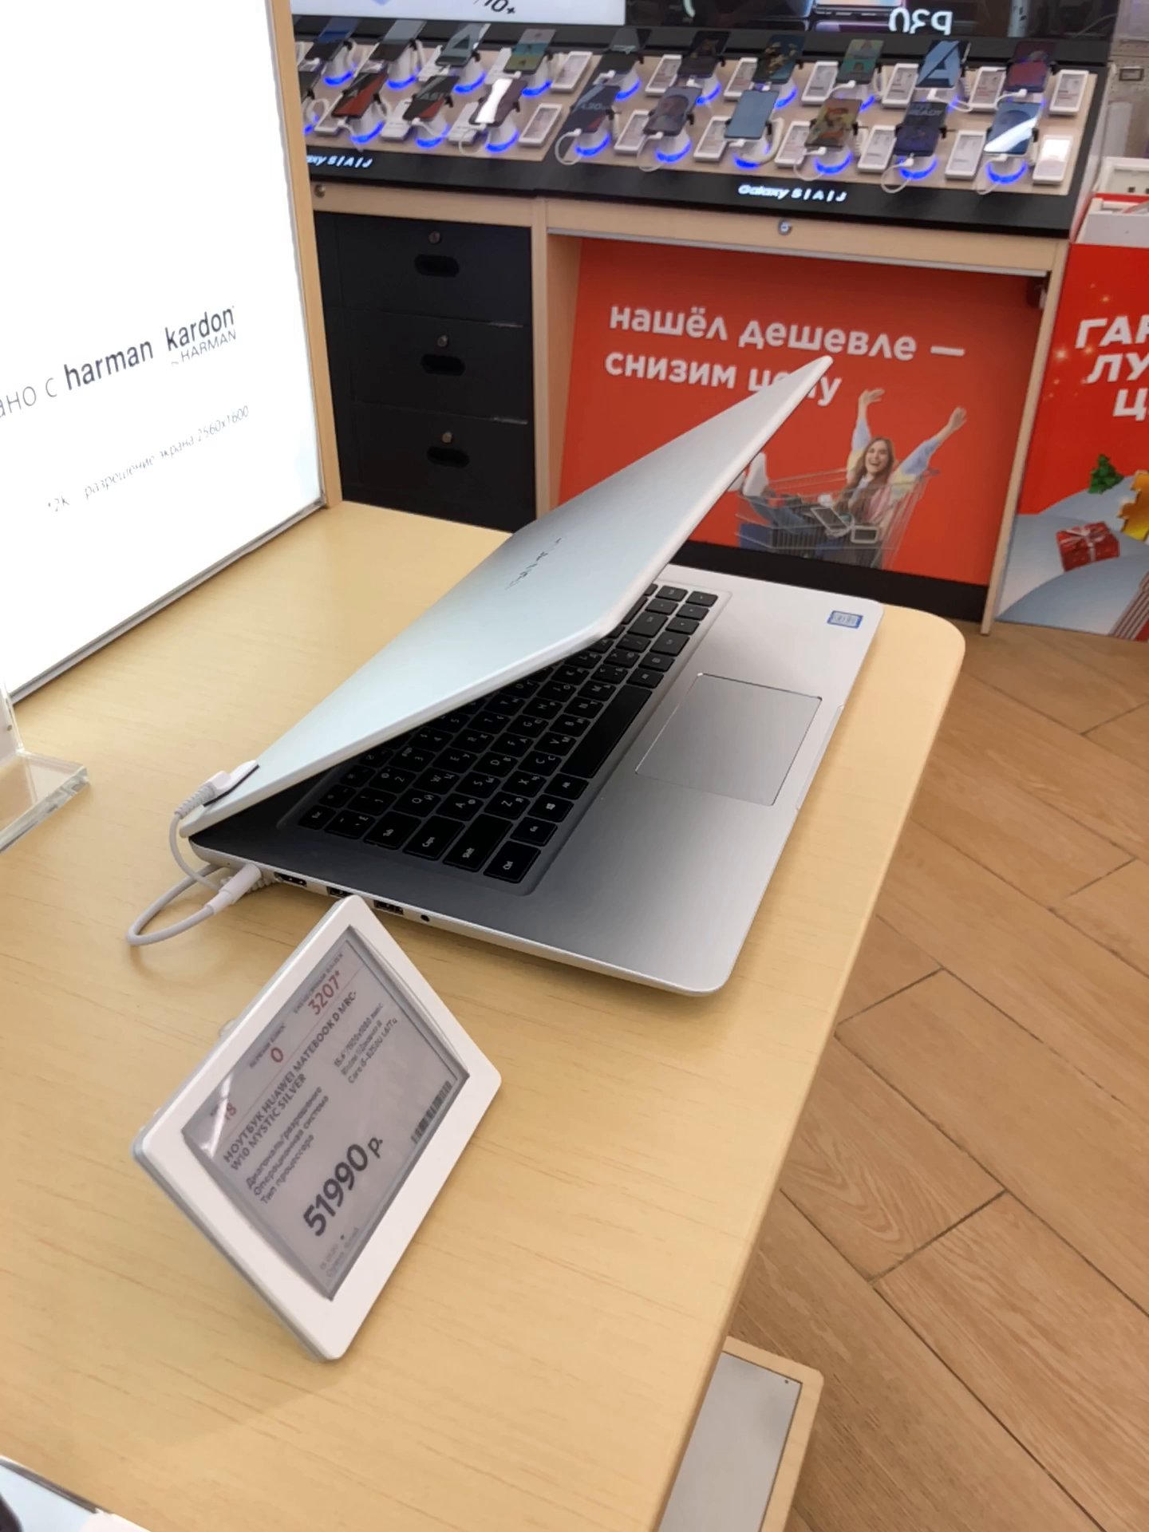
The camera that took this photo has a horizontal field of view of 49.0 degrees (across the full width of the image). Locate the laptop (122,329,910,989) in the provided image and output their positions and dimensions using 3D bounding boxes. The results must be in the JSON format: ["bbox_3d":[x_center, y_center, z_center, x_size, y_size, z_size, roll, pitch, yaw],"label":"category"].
[{"bbox_3d":[0.006,-0.085,0.598,0.230,0.135,0.344,13,35,17],"label":"laptop"}]
